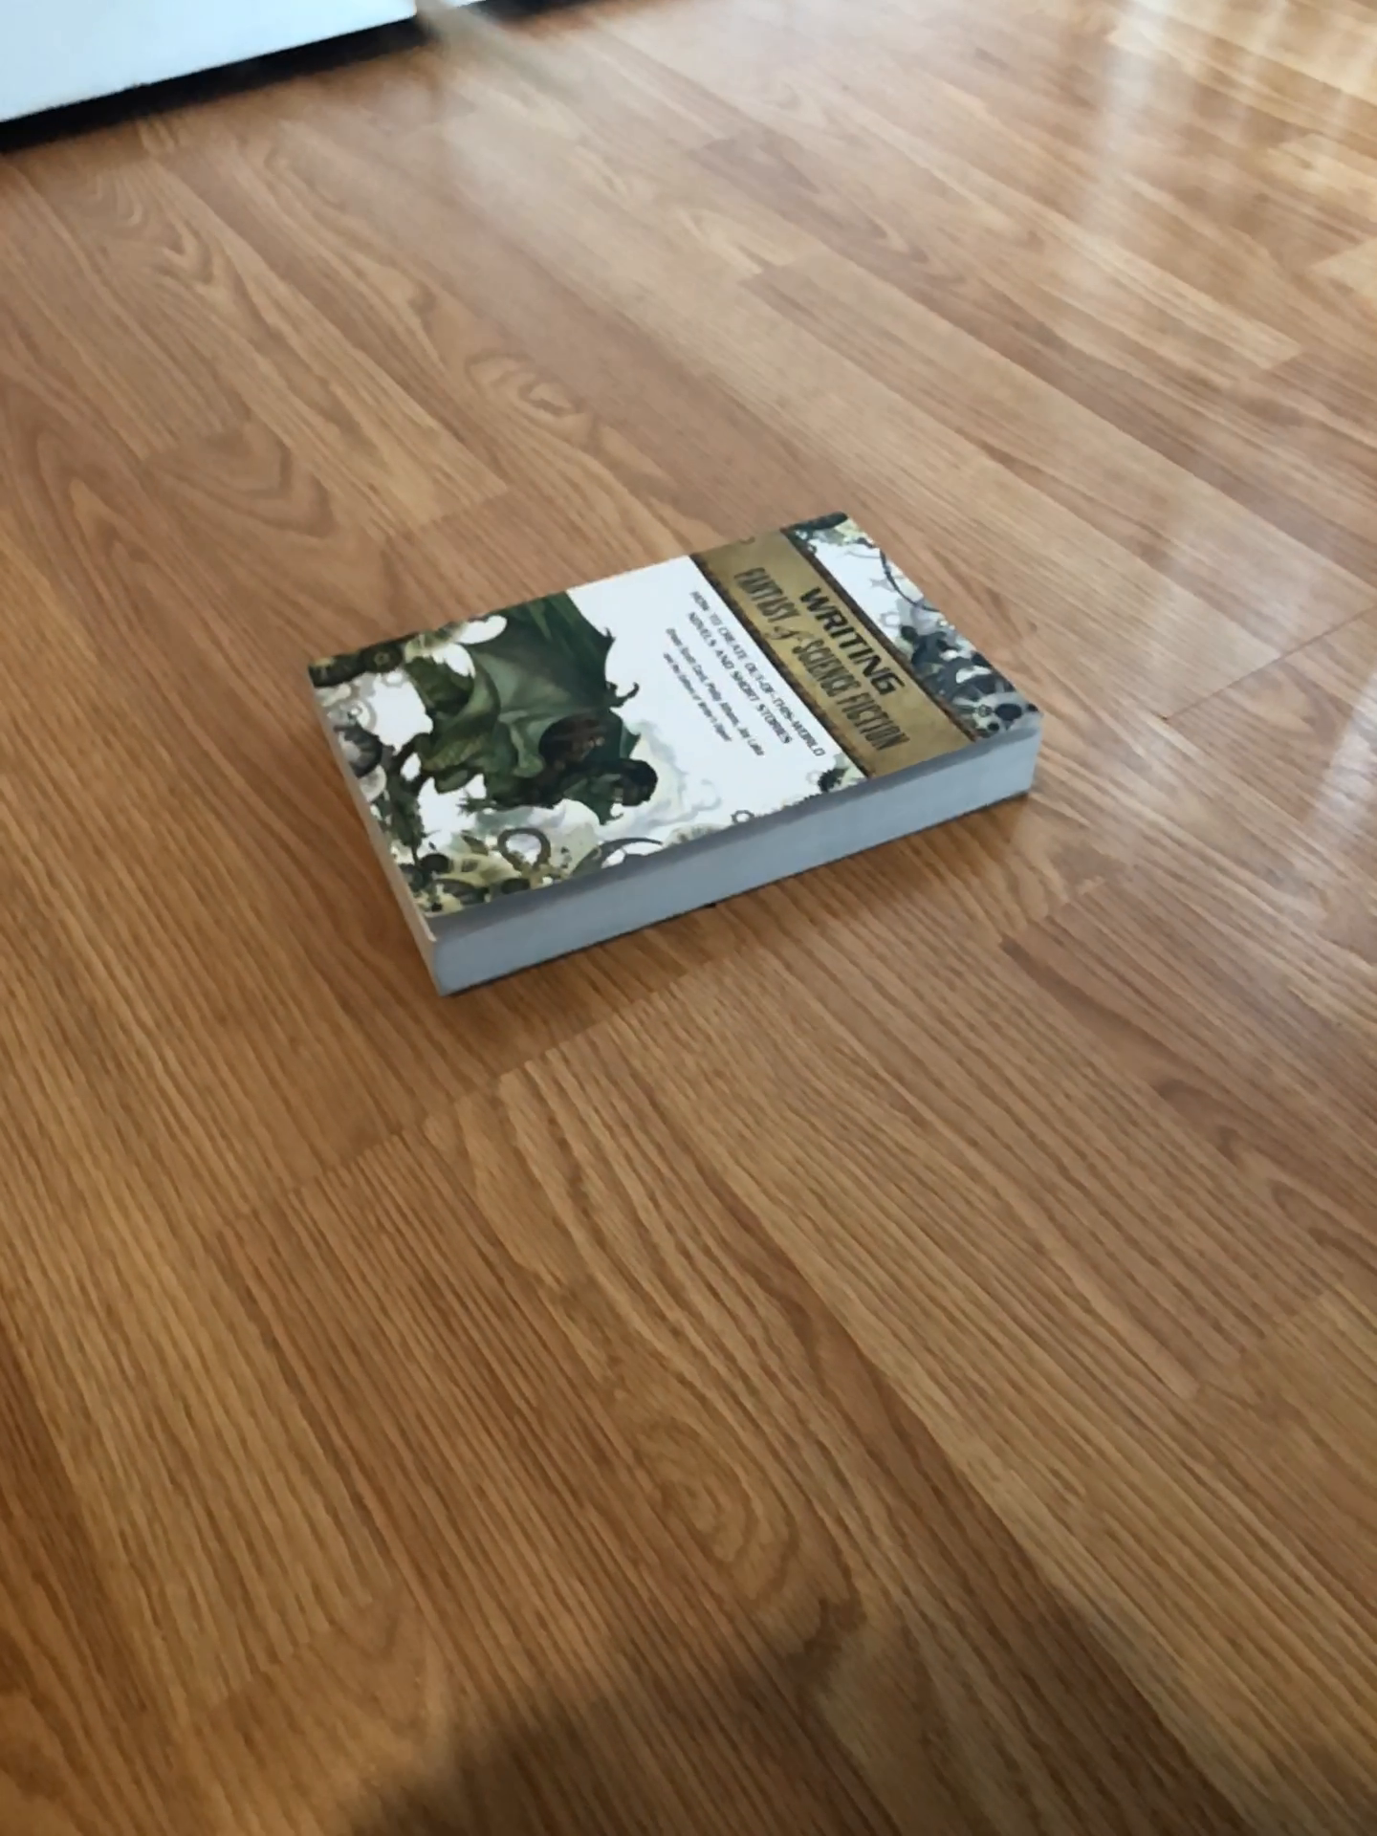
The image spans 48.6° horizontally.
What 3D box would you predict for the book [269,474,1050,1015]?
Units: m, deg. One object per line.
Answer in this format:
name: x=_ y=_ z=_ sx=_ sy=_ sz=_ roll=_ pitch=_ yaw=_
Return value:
book: x=-0.015 y=-0.075 z=0.553 sx=0.228 sy=0.040 sz=0.165 roll=-19 pitch=52 yaw=-16
